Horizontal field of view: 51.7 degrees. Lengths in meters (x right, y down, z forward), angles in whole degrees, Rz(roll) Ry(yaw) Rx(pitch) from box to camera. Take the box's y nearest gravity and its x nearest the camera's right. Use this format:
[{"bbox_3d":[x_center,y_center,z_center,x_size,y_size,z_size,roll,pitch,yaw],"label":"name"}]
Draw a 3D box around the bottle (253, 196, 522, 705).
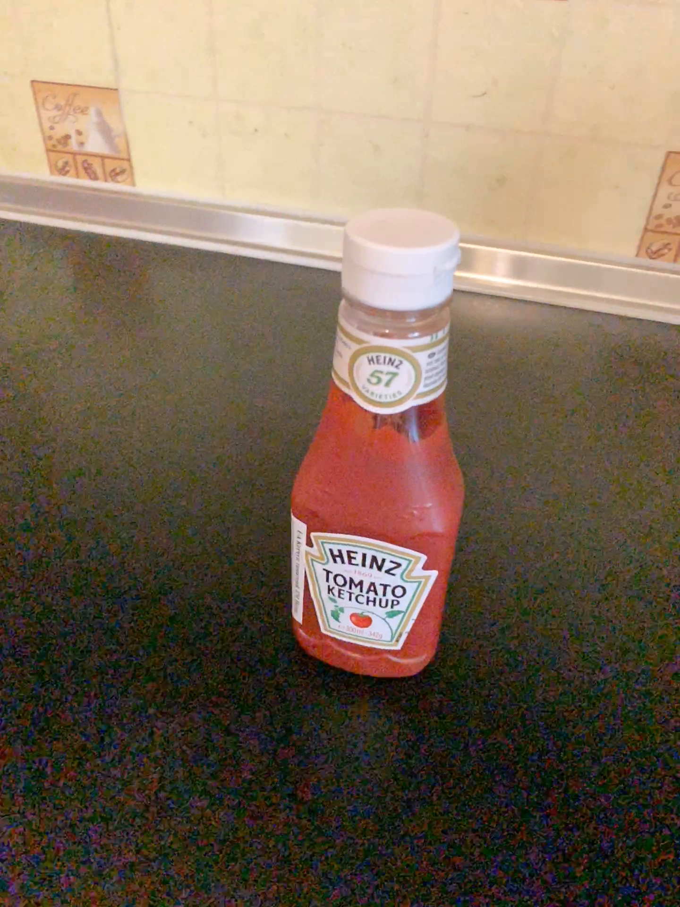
[{"bbox_3d":[0.013,0.011,0.263,0.070,0.189,0.050,10,39,10],"label":"bottle"}]
